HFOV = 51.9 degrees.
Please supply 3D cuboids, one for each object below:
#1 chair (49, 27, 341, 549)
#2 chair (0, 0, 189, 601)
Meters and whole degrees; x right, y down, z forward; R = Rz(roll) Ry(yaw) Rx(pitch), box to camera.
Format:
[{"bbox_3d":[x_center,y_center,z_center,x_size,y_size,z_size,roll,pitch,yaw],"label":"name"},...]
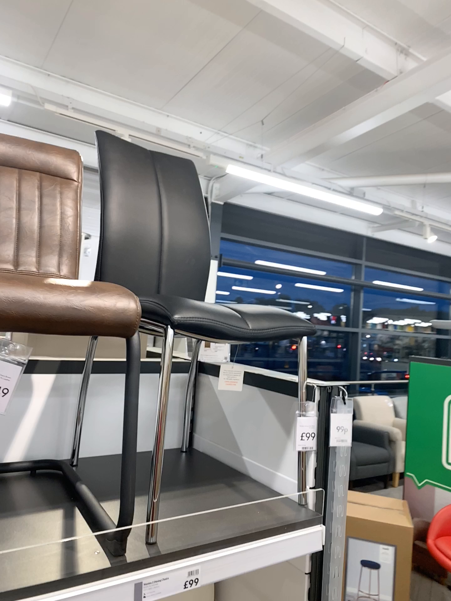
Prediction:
[{"bbox_3d":[-0.102,-0.024,1.249,0.474,0.995,0.583,7,-5,-35],"label":"chair"},{"bbox_3d":[-0.490,-0.029,0.932,0.554,0.885,0.583,7,-5,-32],"label":"chair"}]
